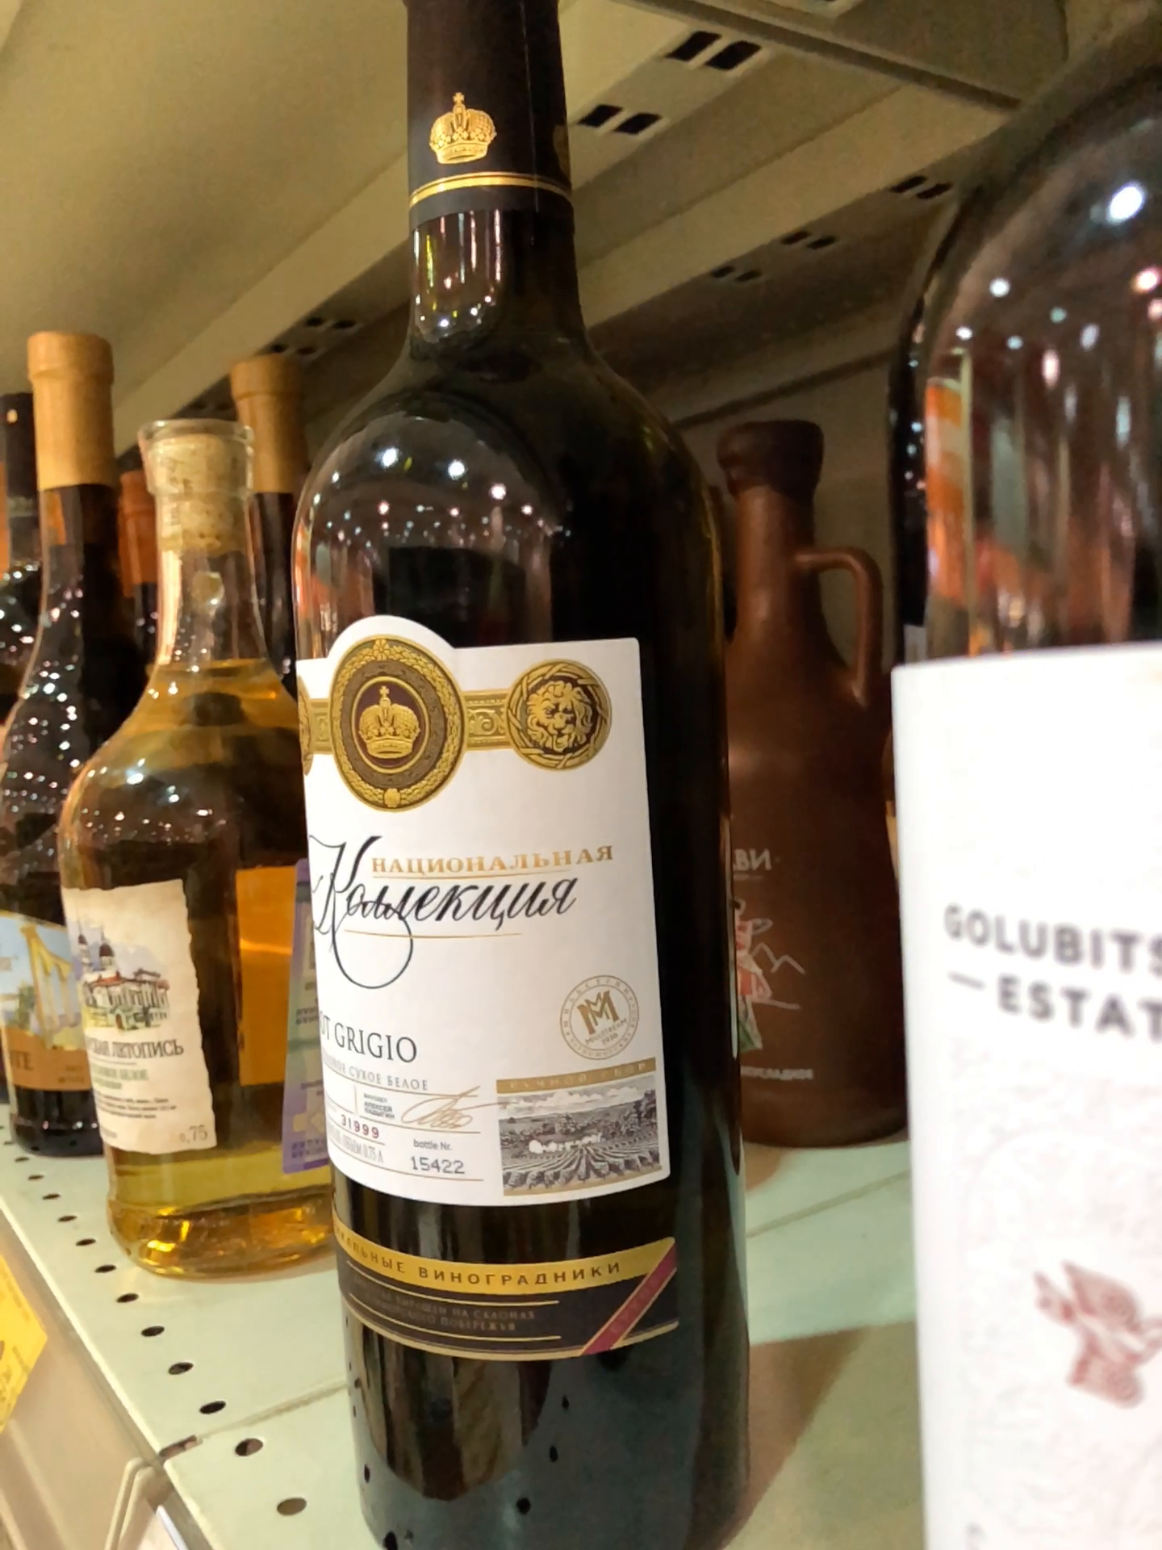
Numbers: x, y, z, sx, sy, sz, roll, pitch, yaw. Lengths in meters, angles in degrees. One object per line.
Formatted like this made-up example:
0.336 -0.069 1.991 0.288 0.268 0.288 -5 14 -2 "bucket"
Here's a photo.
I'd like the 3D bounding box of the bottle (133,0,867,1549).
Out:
-0.010 -0.019 0.254 0.090 0.320 0.090 -3 2 0 "bottle"
